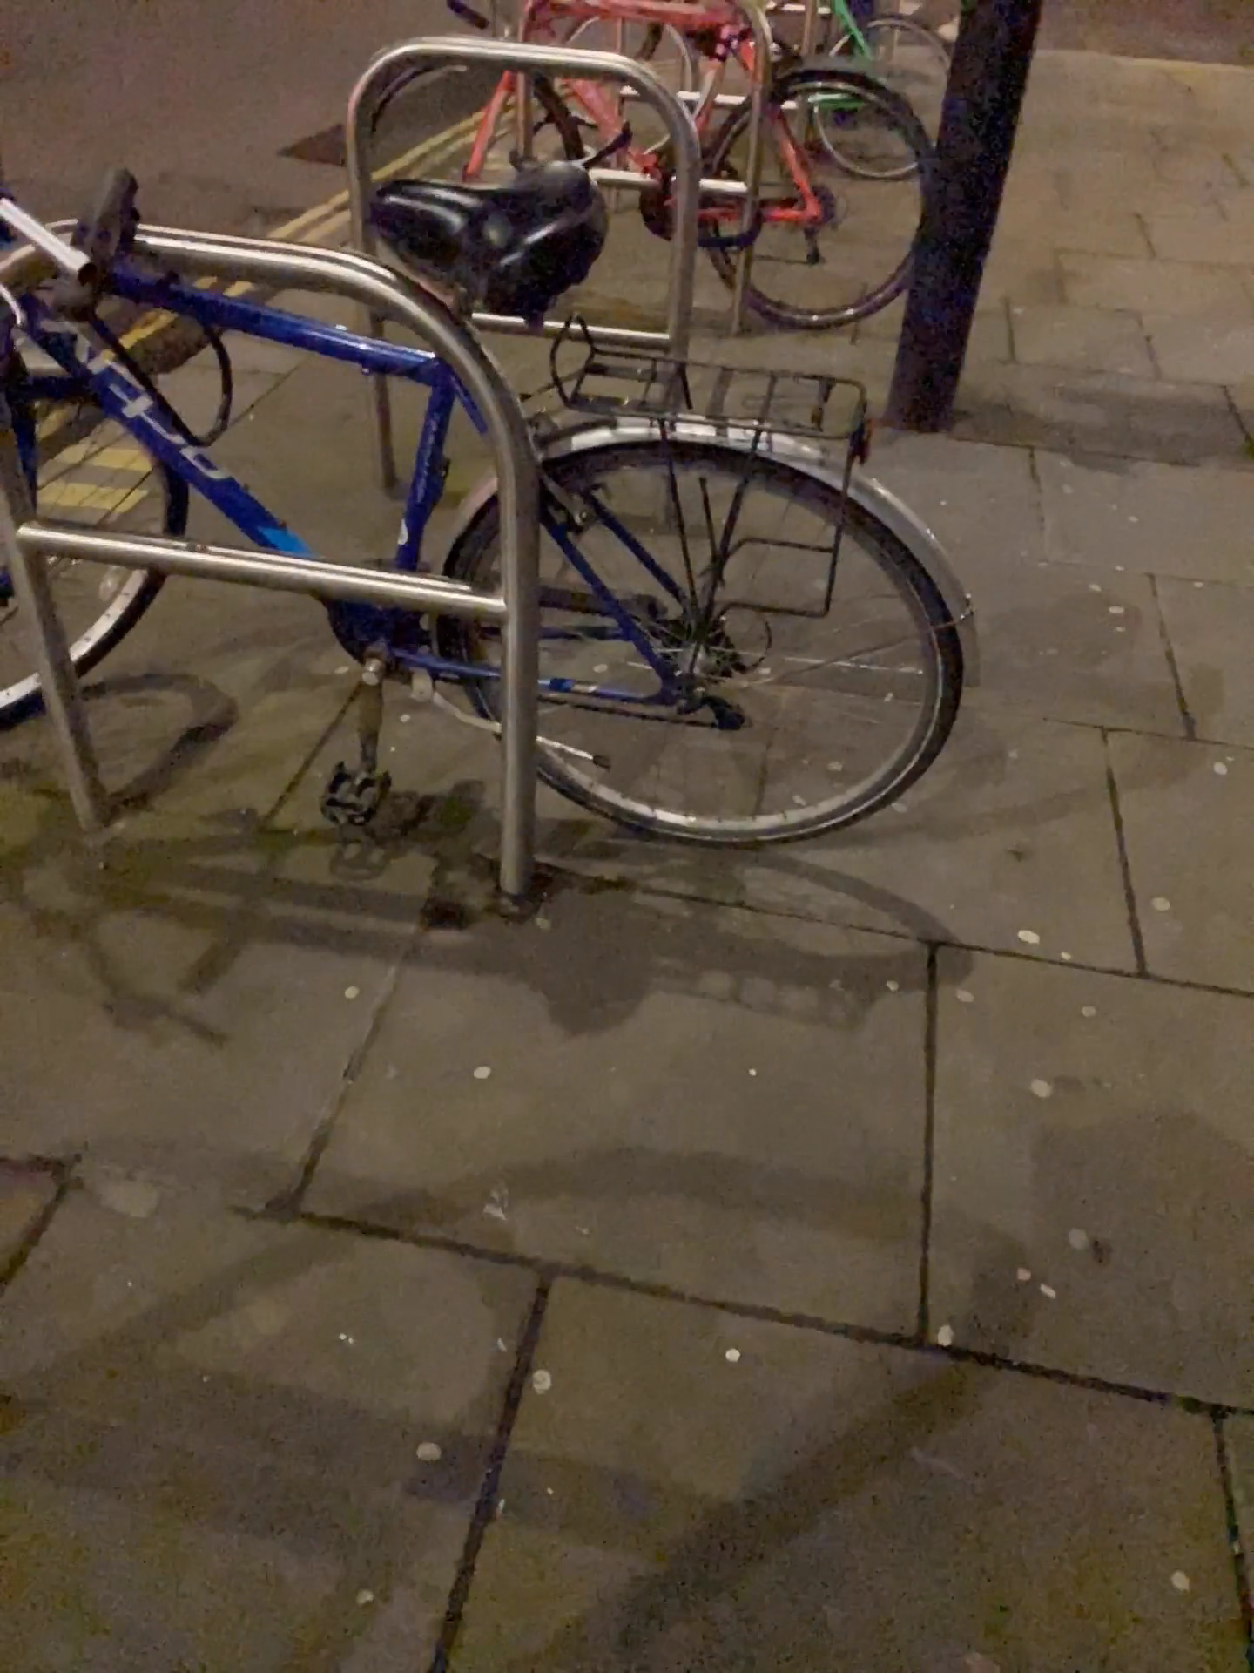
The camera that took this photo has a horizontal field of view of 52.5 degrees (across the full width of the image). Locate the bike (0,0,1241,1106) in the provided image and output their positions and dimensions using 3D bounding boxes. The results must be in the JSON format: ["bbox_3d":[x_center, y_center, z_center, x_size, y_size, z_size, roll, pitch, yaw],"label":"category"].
[{"bbox_3d":[-0.344,-0.379,1.473,1.594,1.108,0.660,6,40,-1],"label":"bike"}]
